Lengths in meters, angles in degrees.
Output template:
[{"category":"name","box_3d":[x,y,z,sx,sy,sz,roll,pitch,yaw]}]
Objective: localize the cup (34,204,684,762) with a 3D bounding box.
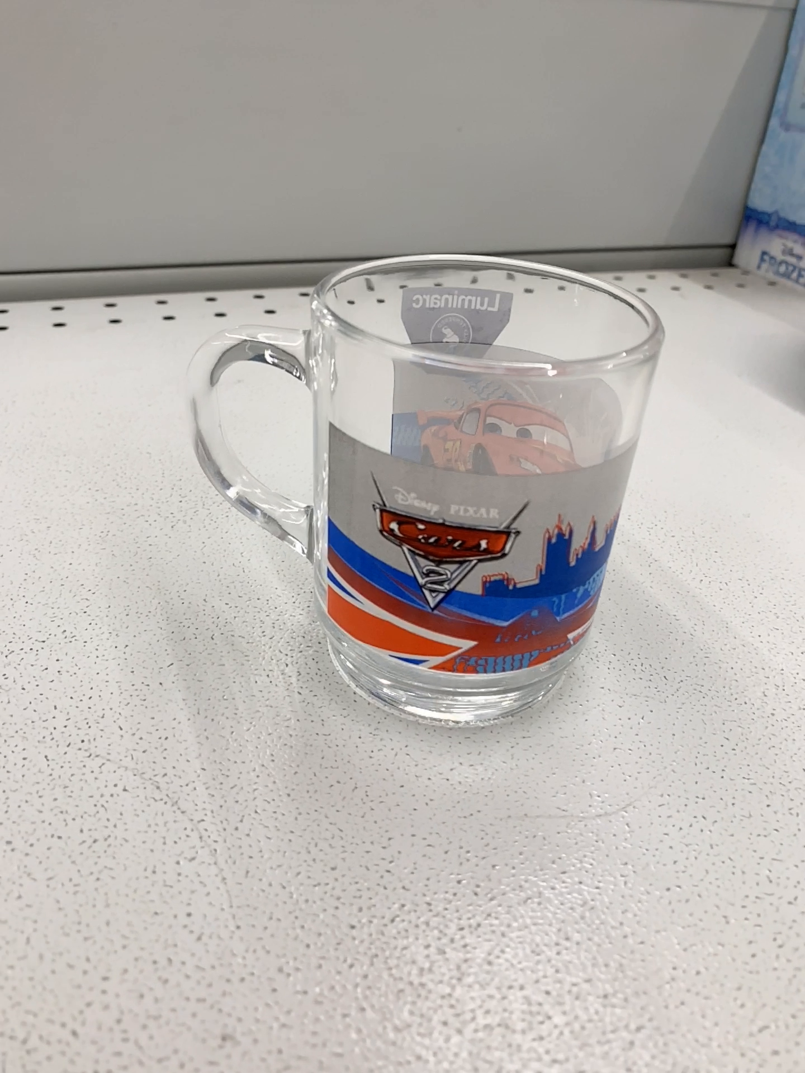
[{"category":"cup","box_3d":[-0.006,-0.016,0.188,0.108,0.087,0.071,9,33,7]}]
